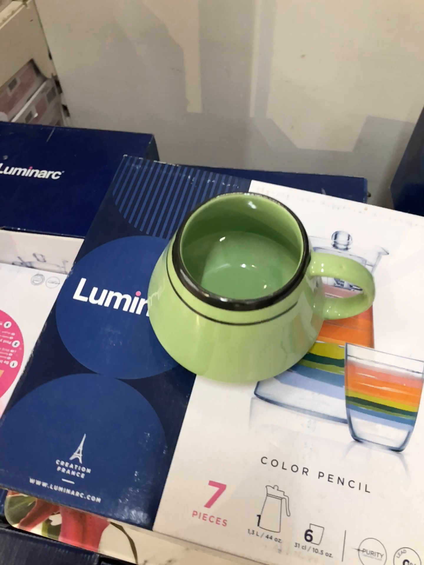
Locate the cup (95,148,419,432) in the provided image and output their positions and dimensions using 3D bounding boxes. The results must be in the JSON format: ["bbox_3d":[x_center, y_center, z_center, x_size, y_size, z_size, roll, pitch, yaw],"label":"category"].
[{"bbox_3d":[0.030,-0.001,0.263,0.140,0.070,0.111,13,55,10],"label":"cup"}]
